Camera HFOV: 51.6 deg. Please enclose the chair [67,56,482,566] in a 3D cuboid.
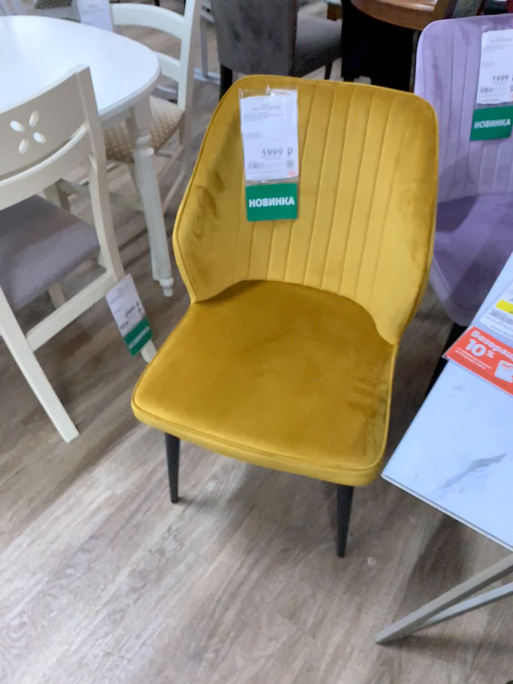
[{"bbox_3d":[0.069,-0.012,1.123,0.500,0.886,0.502,14,49,12],"label":"chair"}]
